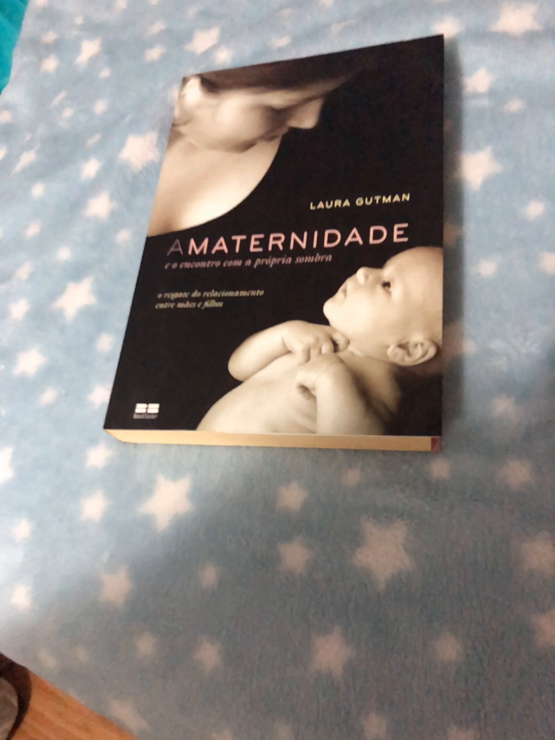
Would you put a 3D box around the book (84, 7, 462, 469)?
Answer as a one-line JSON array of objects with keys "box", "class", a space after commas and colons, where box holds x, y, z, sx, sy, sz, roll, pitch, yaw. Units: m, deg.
[{"box": [0.009, -0.075, 0.313, 0.160, 0.030, 0.241, 0, 65, 17], "class": "book"}]
